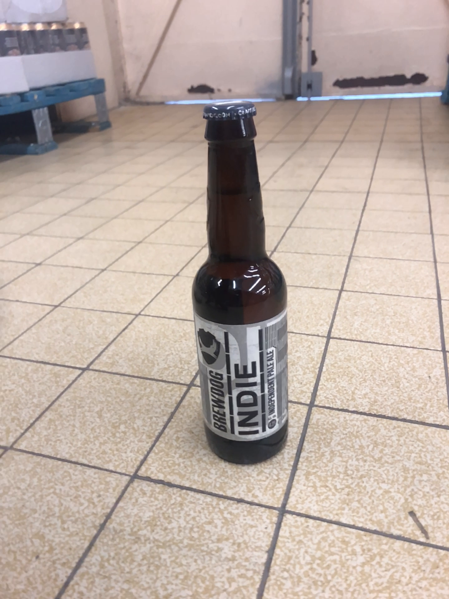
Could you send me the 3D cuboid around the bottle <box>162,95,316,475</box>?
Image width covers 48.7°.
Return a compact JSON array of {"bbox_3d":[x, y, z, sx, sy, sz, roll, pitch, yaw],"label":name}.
[{"bbox_3d":[0.013,-0.002,0.306,0.070,0.222,0.070,-3,26,1],"label":"bottle"}]
